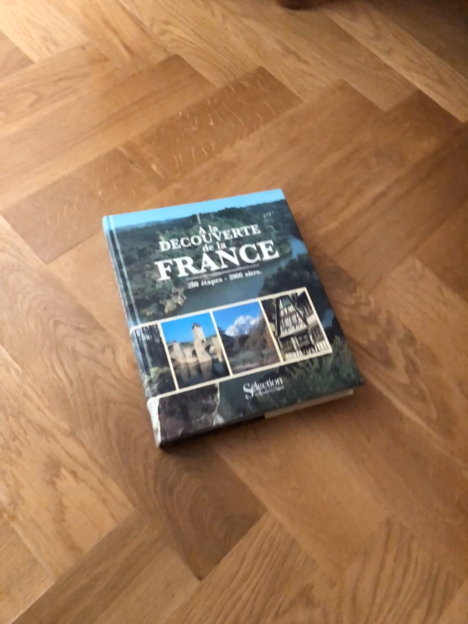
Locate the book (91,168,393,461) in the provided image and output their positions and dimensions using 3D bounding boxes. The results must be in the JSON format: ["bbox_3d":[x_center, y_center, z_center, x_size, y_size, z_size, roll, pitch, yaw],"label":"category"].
[{"bbox_3d":[-0.001,-0.018,0.568,0.251,0.040,0.290,-13,67,-16],"label":"book"}]
